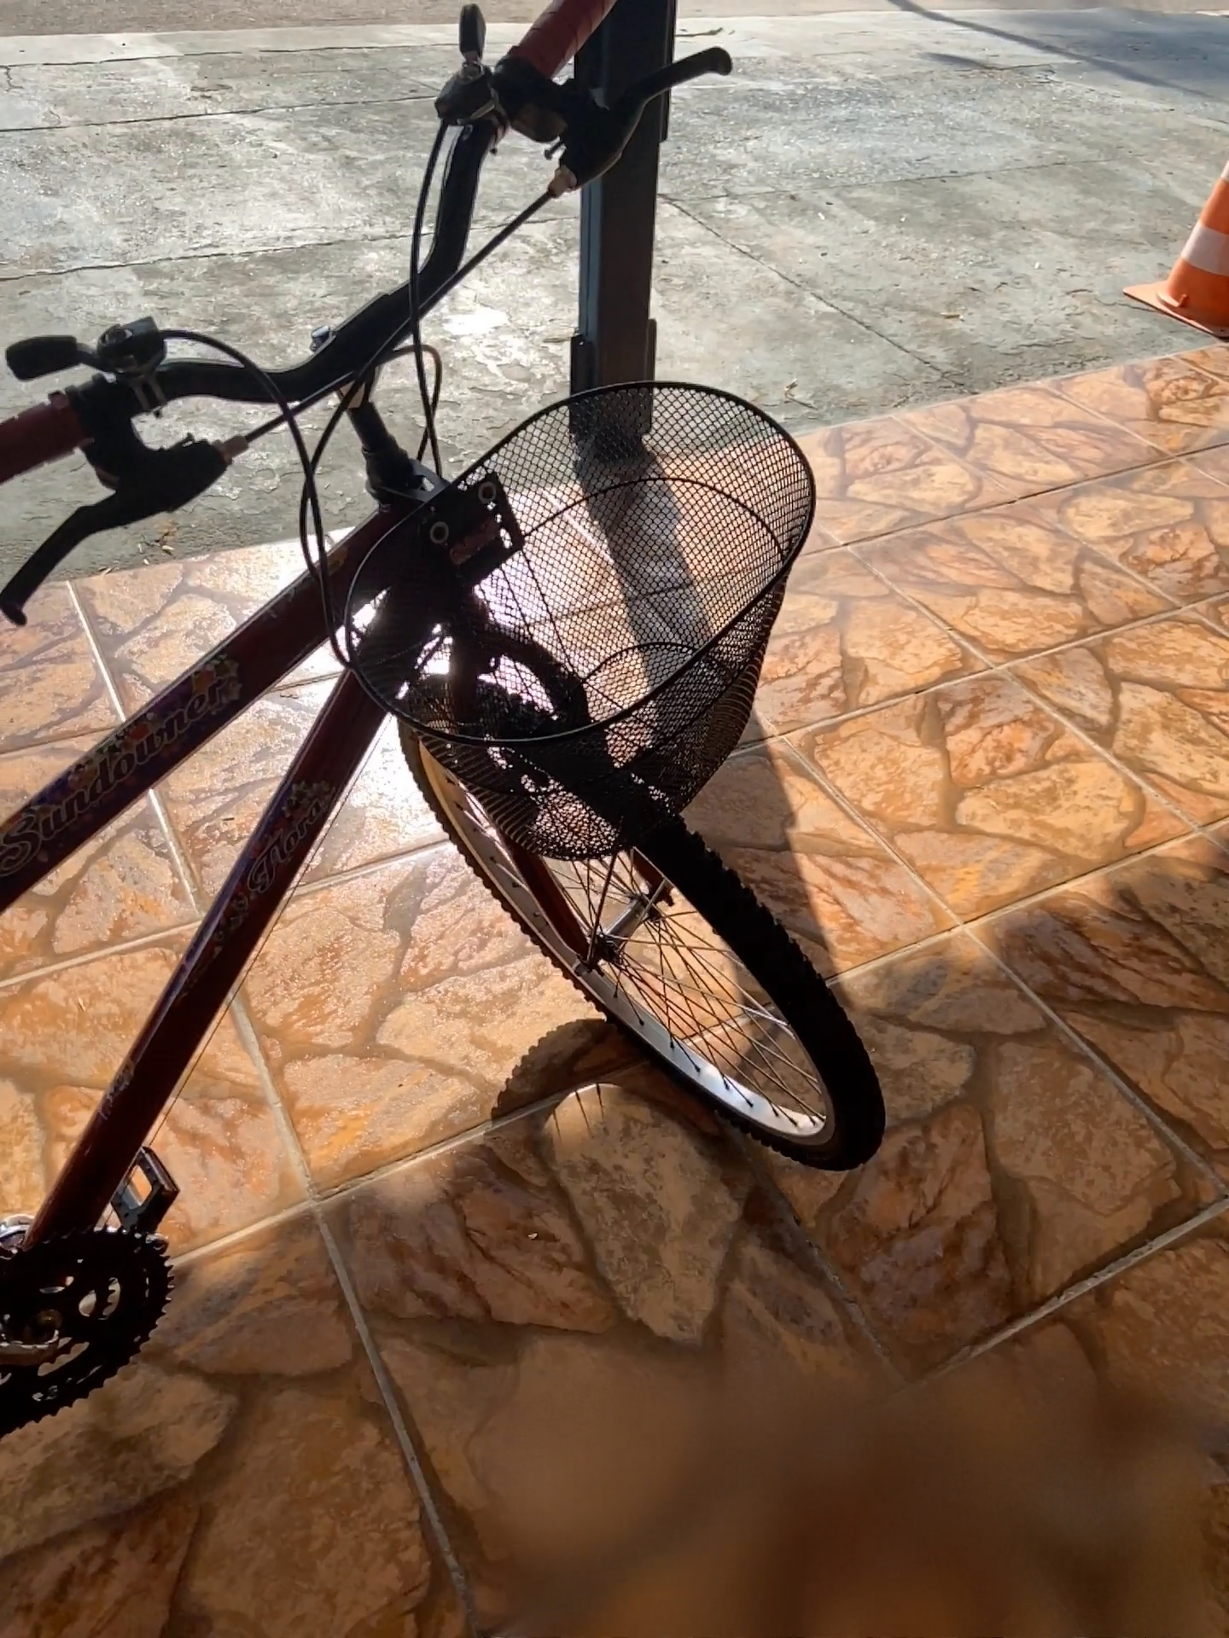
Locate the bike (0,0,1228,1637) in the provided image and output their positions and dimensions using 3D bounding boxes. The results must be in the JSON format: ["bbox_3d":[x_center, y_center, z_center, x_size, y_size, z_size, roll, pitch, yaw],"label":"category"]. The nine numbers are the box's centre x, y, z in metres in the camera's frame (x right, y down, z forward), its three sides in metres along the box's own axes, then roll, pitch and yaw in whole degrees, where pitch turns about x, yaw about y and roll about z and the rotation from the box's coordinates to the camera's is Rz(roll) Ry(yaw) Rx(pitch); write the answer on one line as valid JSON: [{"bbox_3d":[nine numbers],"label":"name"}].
[{"bbox_3d":[-0.474,0.220,0.755,1.410,1.080,0.551,-17,47,-20],"label":"bike"}]
